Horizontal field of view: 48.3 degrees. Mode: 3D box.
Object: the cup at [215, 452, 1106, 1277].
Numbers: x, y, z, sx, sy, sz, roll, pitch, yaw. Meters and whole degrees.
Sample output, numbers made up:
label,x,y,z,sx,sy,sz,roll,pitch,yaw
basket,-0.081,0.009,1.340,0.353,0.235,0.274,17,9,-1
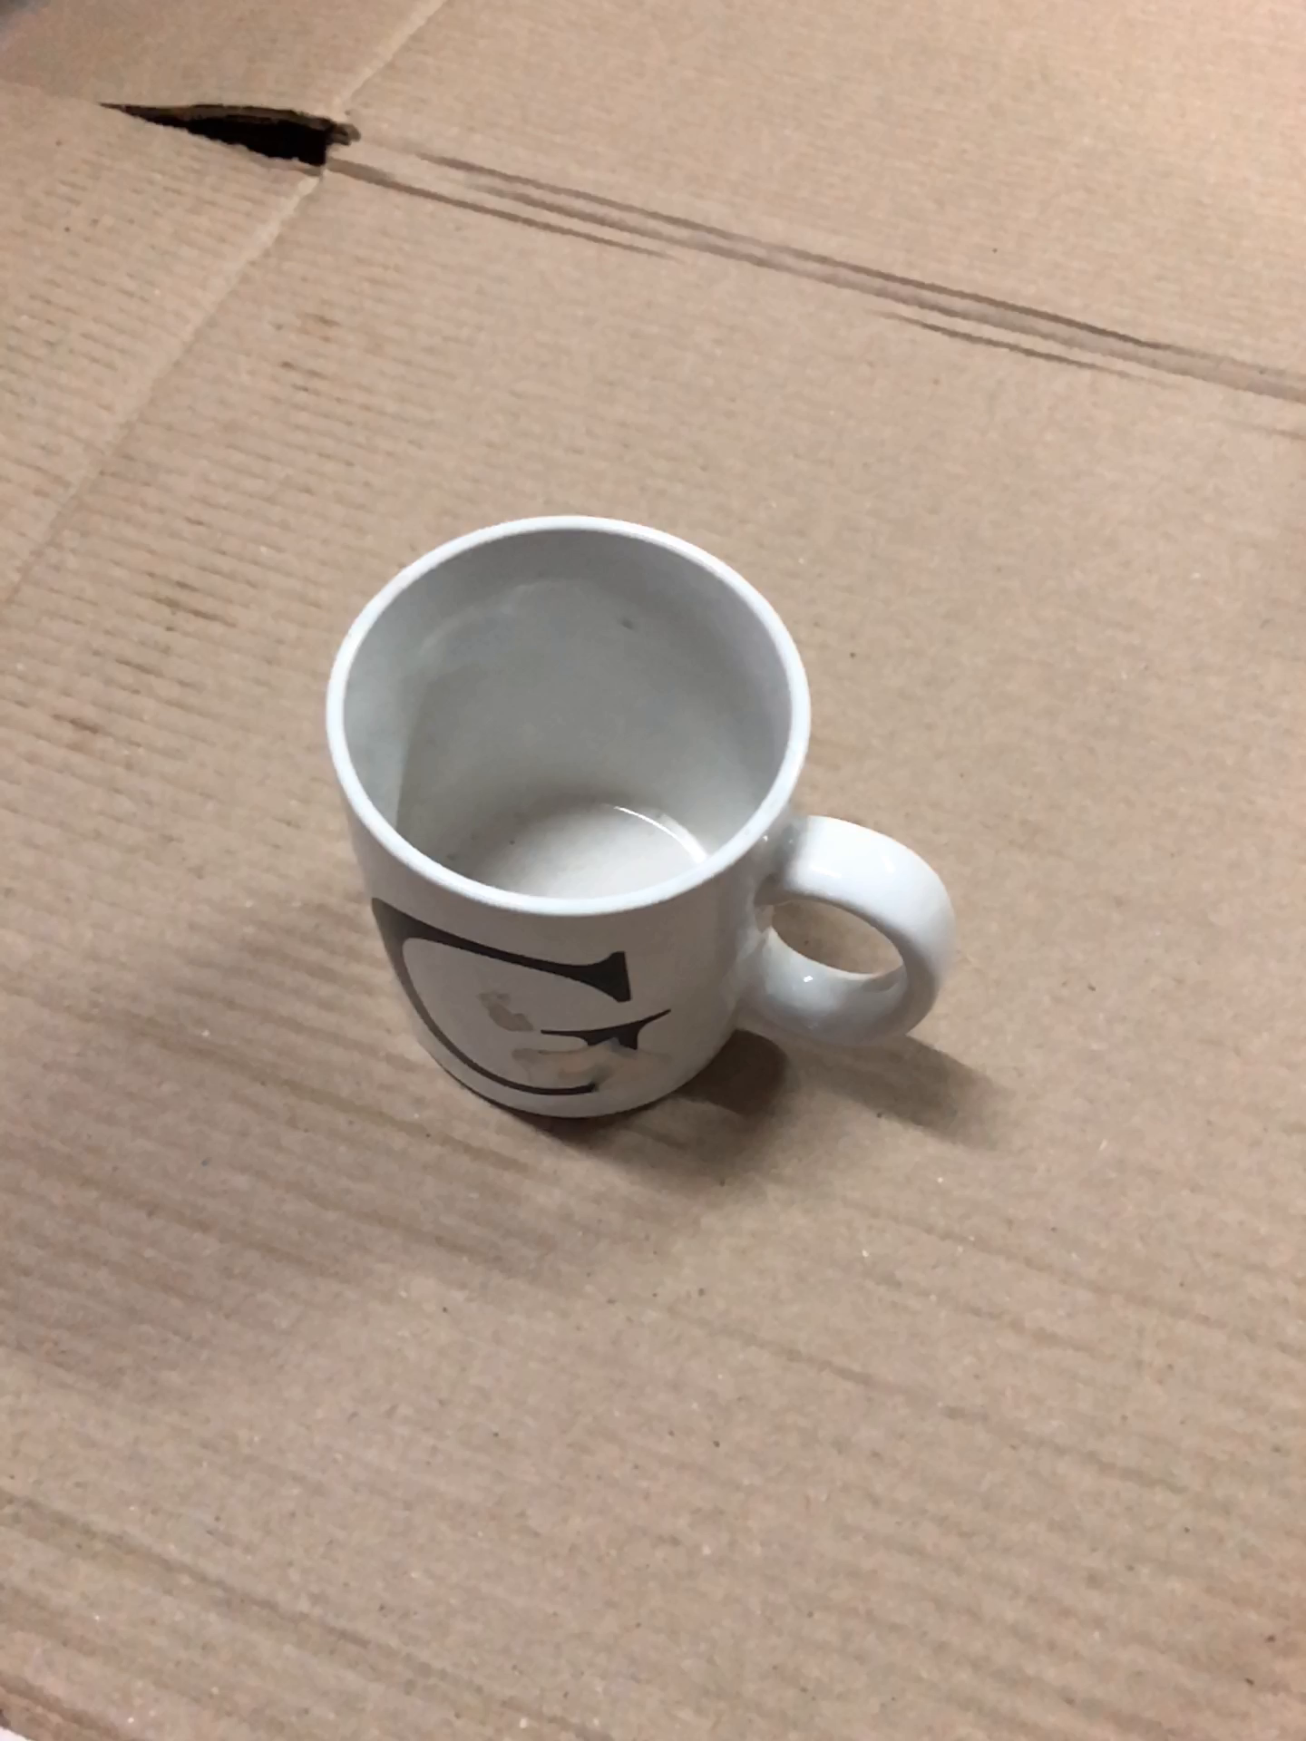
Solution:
label,x,y,z,sx,sy,sz,roll,pitch,yaw
cup,0.004,0.000,0.244,0.110,0.080,0.080,17,57,9
